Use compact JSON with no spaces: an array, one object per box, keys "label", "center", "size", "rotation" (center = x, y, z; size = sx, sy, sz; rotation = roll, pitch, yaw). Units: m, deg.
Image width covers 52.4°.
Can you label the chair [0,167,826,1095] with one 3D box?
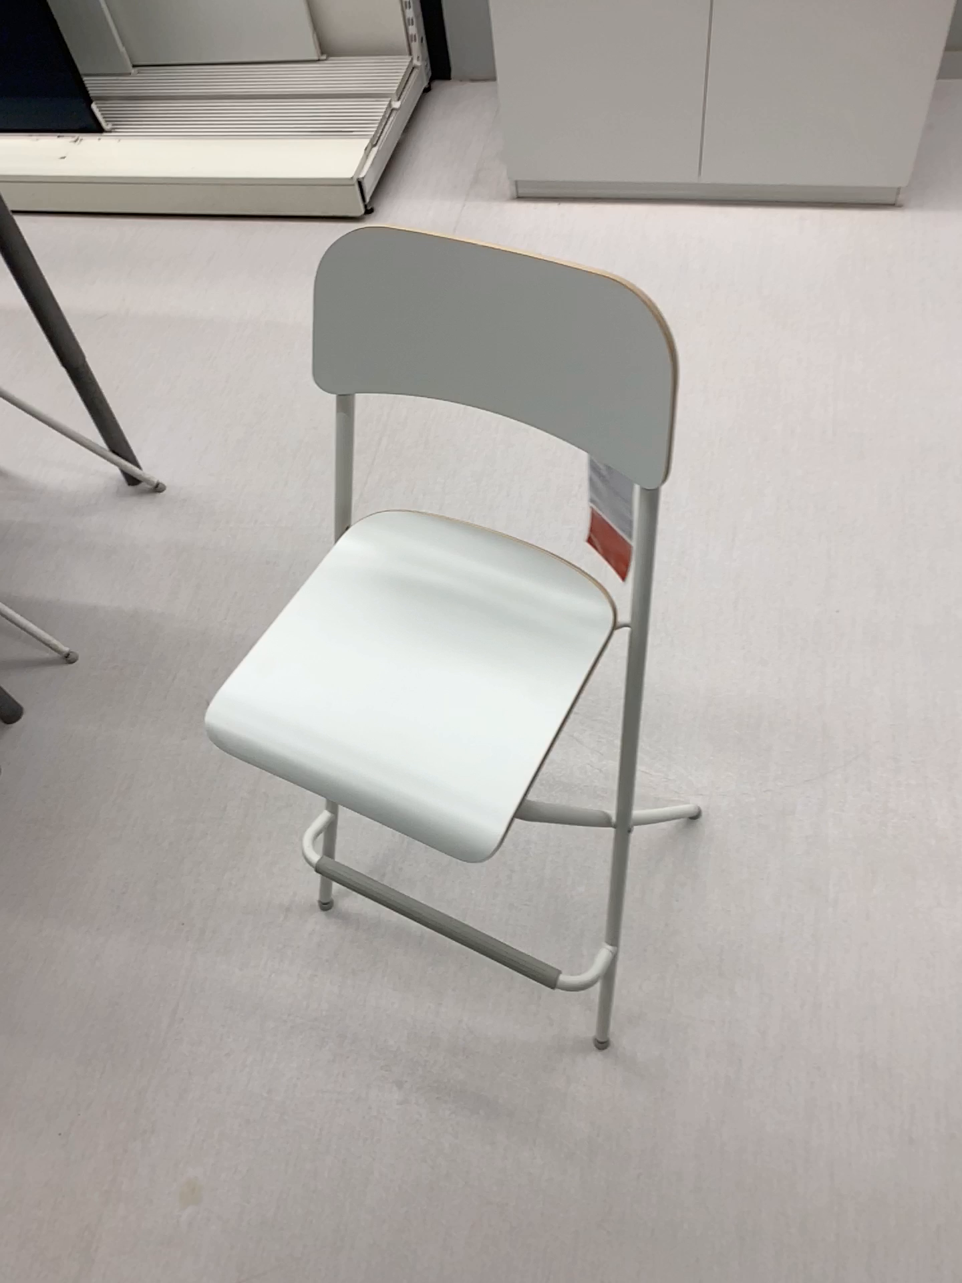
[{"label":"chair","center":[-0.022,0.080,1.125],"size":[0.521,0.938,0.501],"rotation":[20,62,20]}]
